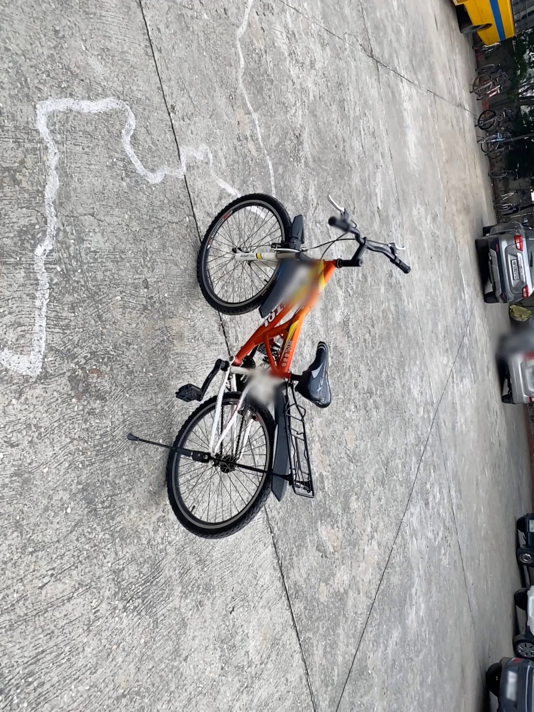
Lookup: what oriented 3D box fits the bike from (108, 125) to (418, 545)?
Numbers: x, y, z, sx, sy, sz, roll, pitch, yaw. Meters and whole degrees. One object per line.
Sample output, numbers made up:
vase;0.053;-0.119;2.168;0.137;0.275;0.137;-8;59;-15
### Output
bike;0.031;-0.041;2.261;0.587;0.977;1.512;35;53;-55
